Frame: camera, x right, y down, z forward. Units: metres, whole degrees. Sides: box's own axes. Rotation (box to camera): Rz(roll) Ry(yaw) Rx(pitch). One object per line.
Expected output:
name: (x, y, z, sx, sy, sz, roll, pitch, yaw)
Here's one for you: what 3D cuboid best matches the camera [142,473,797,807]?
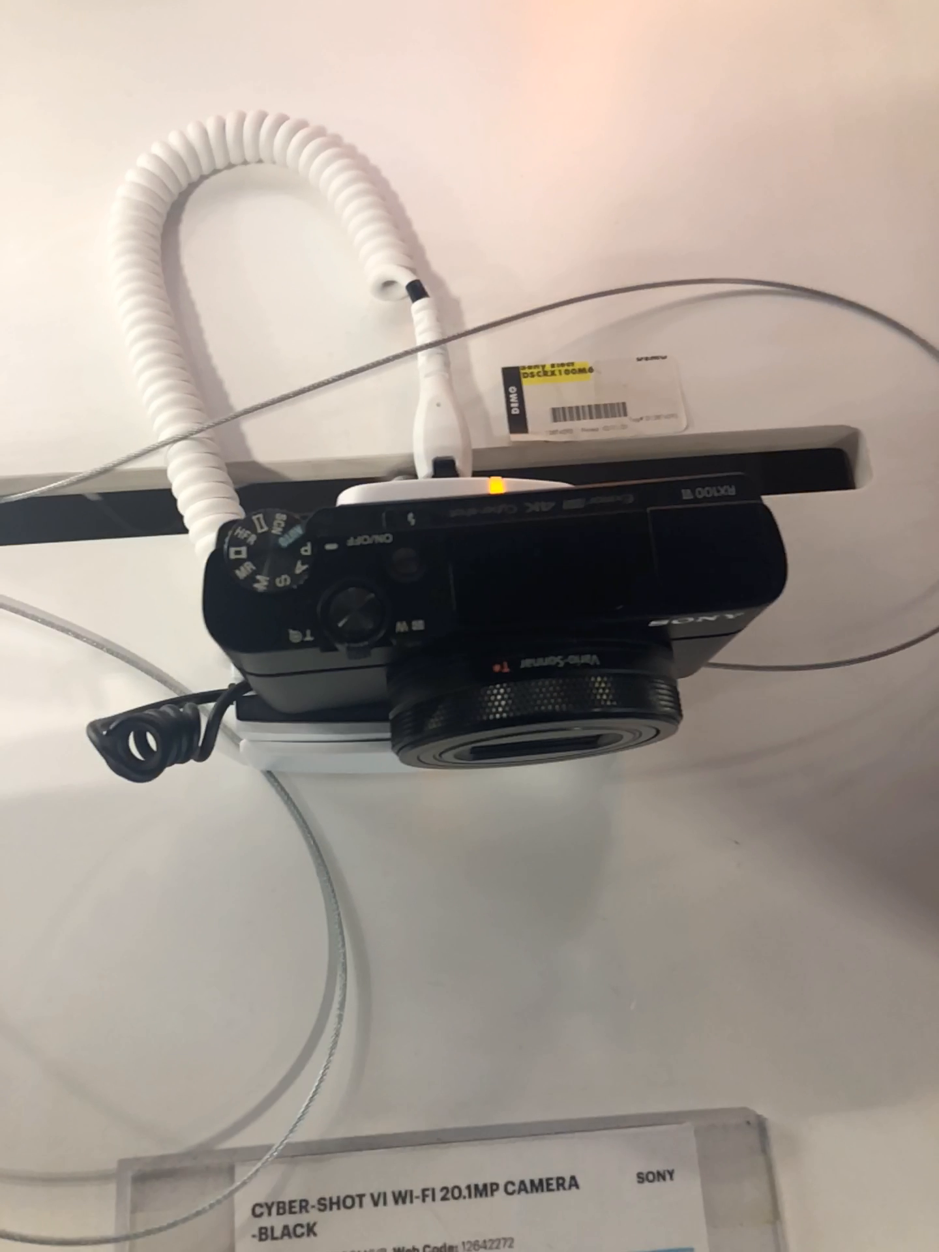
camera: (-0.002, 0.006, 0.206, 0.109, 0.060, 0.040, -5, 71, -4)
